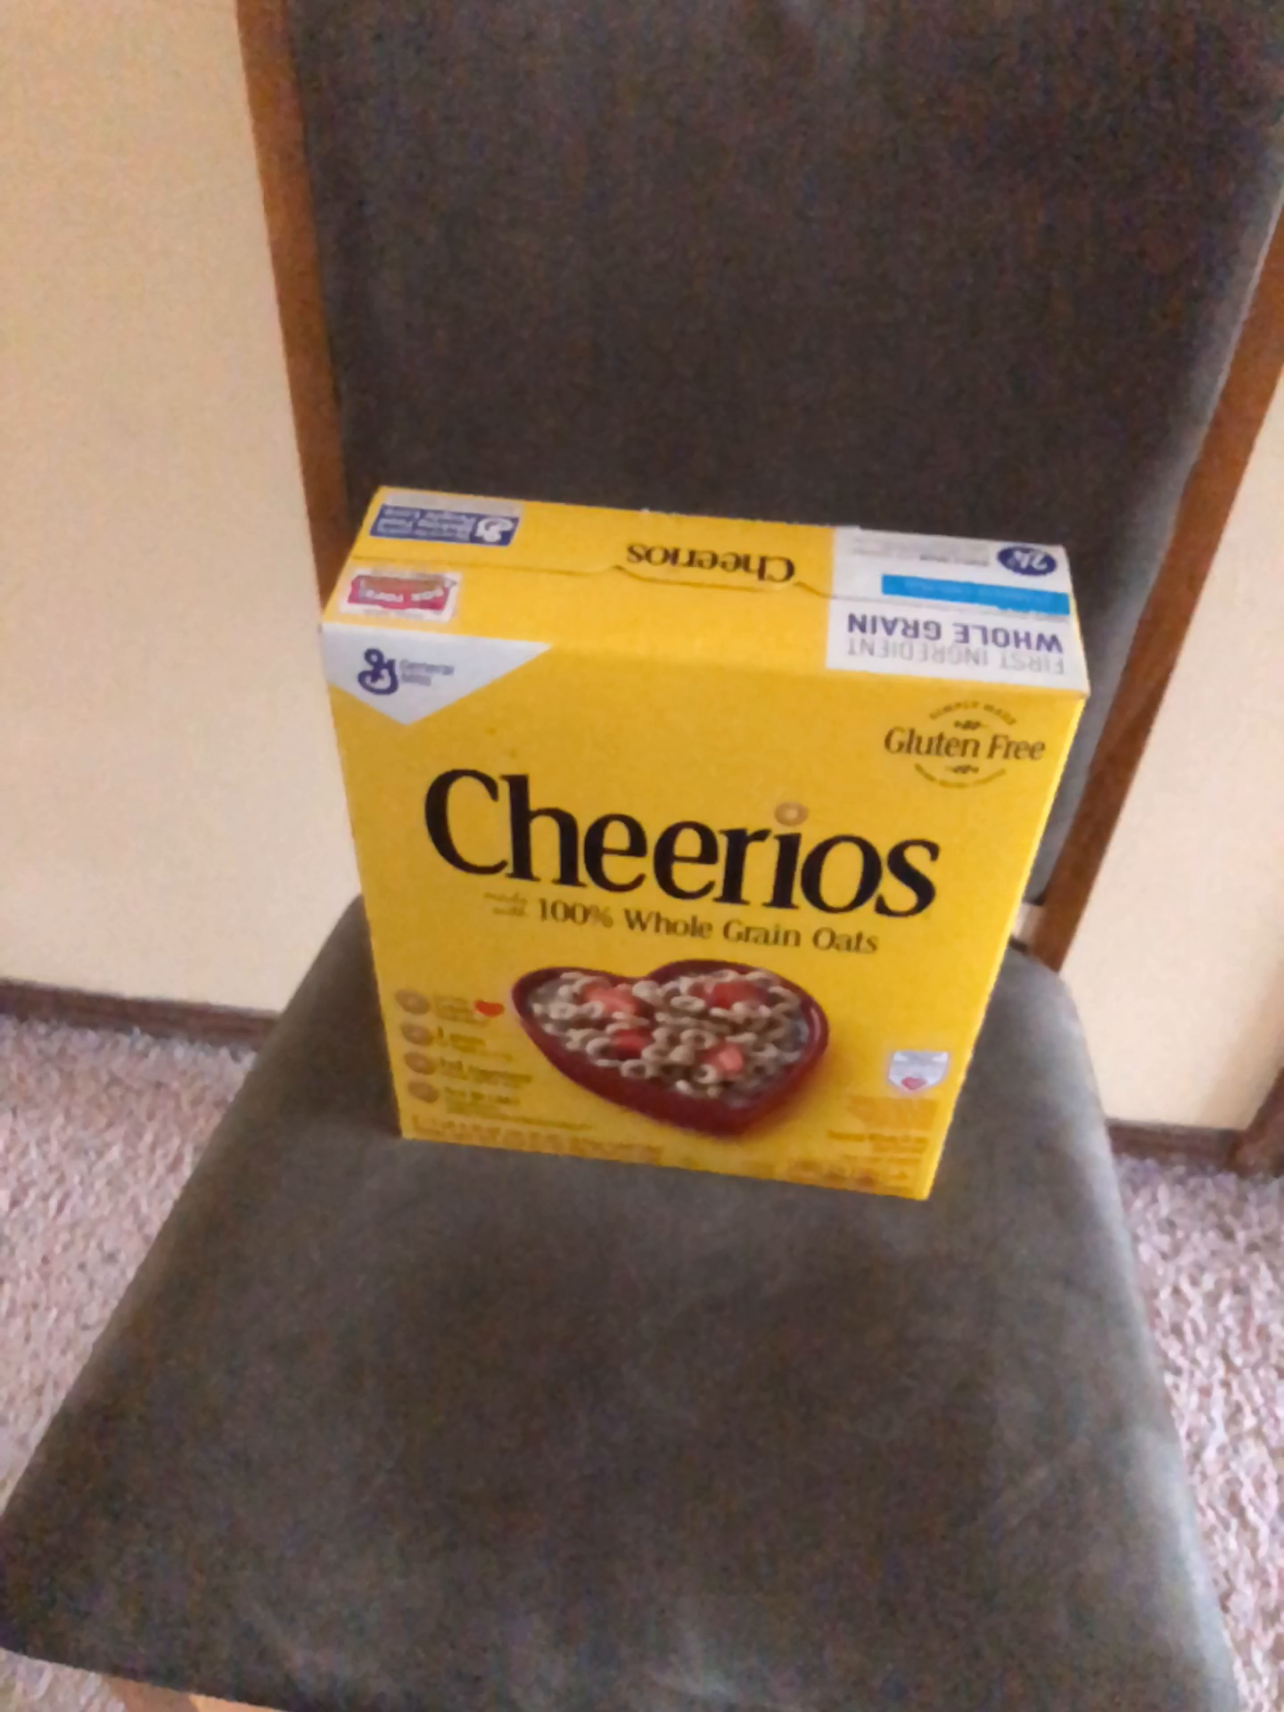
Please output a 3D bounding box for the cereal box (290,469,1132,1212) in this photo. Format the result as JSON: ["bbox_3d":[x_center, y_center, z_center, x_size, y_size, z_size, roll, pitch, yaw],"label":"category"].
[{"bbox_3d":[0.021,0.011,0.578,0.260,0.300,0.090,6,46,4],"label":"cereal box"}]
